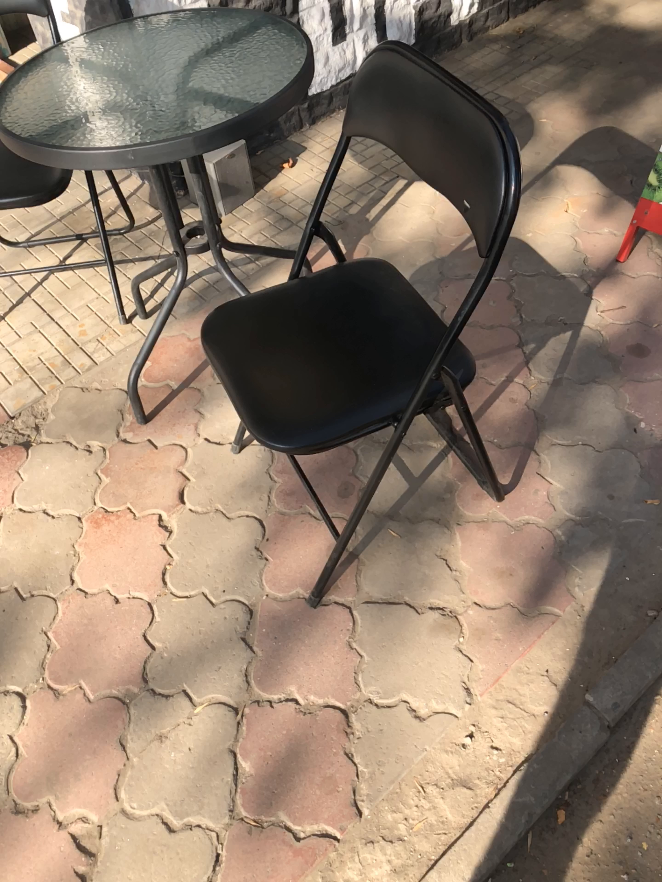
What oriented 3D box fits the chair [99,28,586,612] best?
[{"bbox_3d":[0.018,-0.184,1.223,0.470,0.697,0.502,-25,50,-13],"label":"chair"}]
